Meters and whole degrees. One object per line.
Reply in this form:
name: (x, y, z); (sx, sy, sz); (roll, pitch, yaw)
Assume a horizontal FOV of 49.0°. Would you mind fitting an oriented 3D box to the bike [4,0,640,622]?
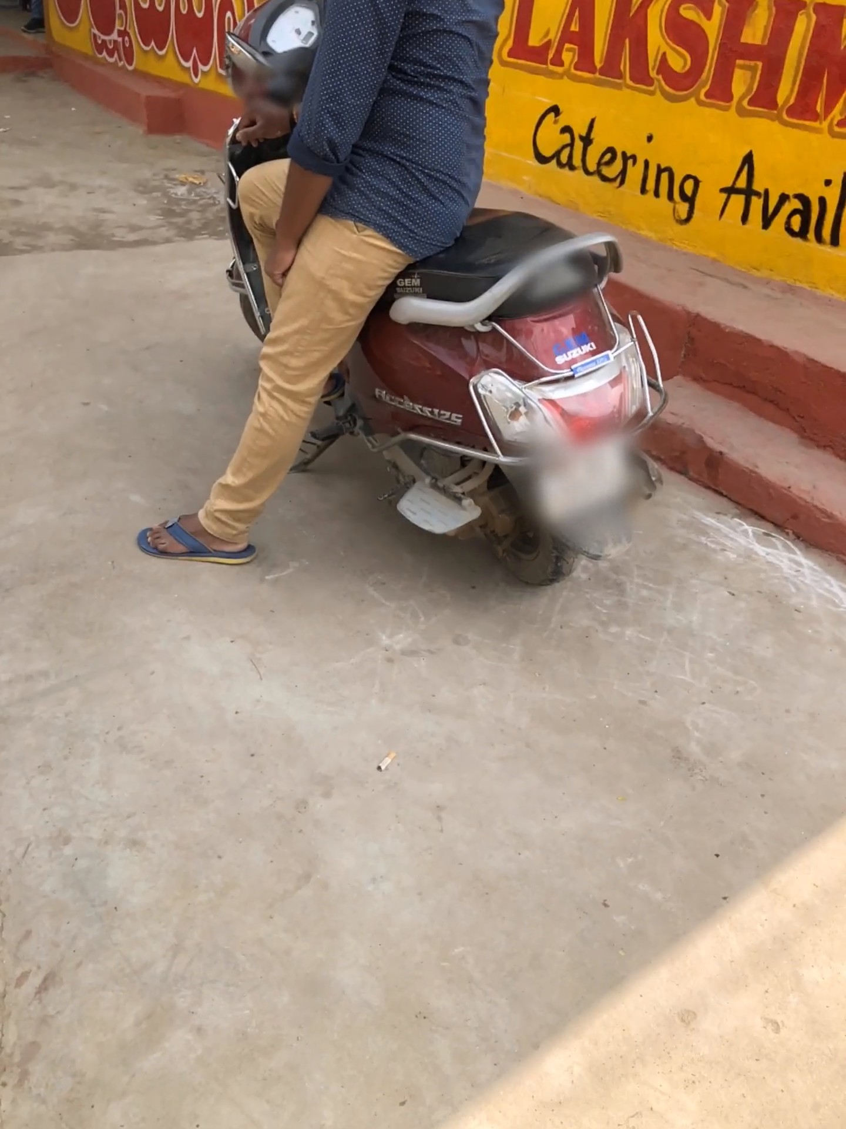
bike: (-0.358, -0.745, 2.200); (0.631, 1.087, 1.379); (-17, 40, -34)
